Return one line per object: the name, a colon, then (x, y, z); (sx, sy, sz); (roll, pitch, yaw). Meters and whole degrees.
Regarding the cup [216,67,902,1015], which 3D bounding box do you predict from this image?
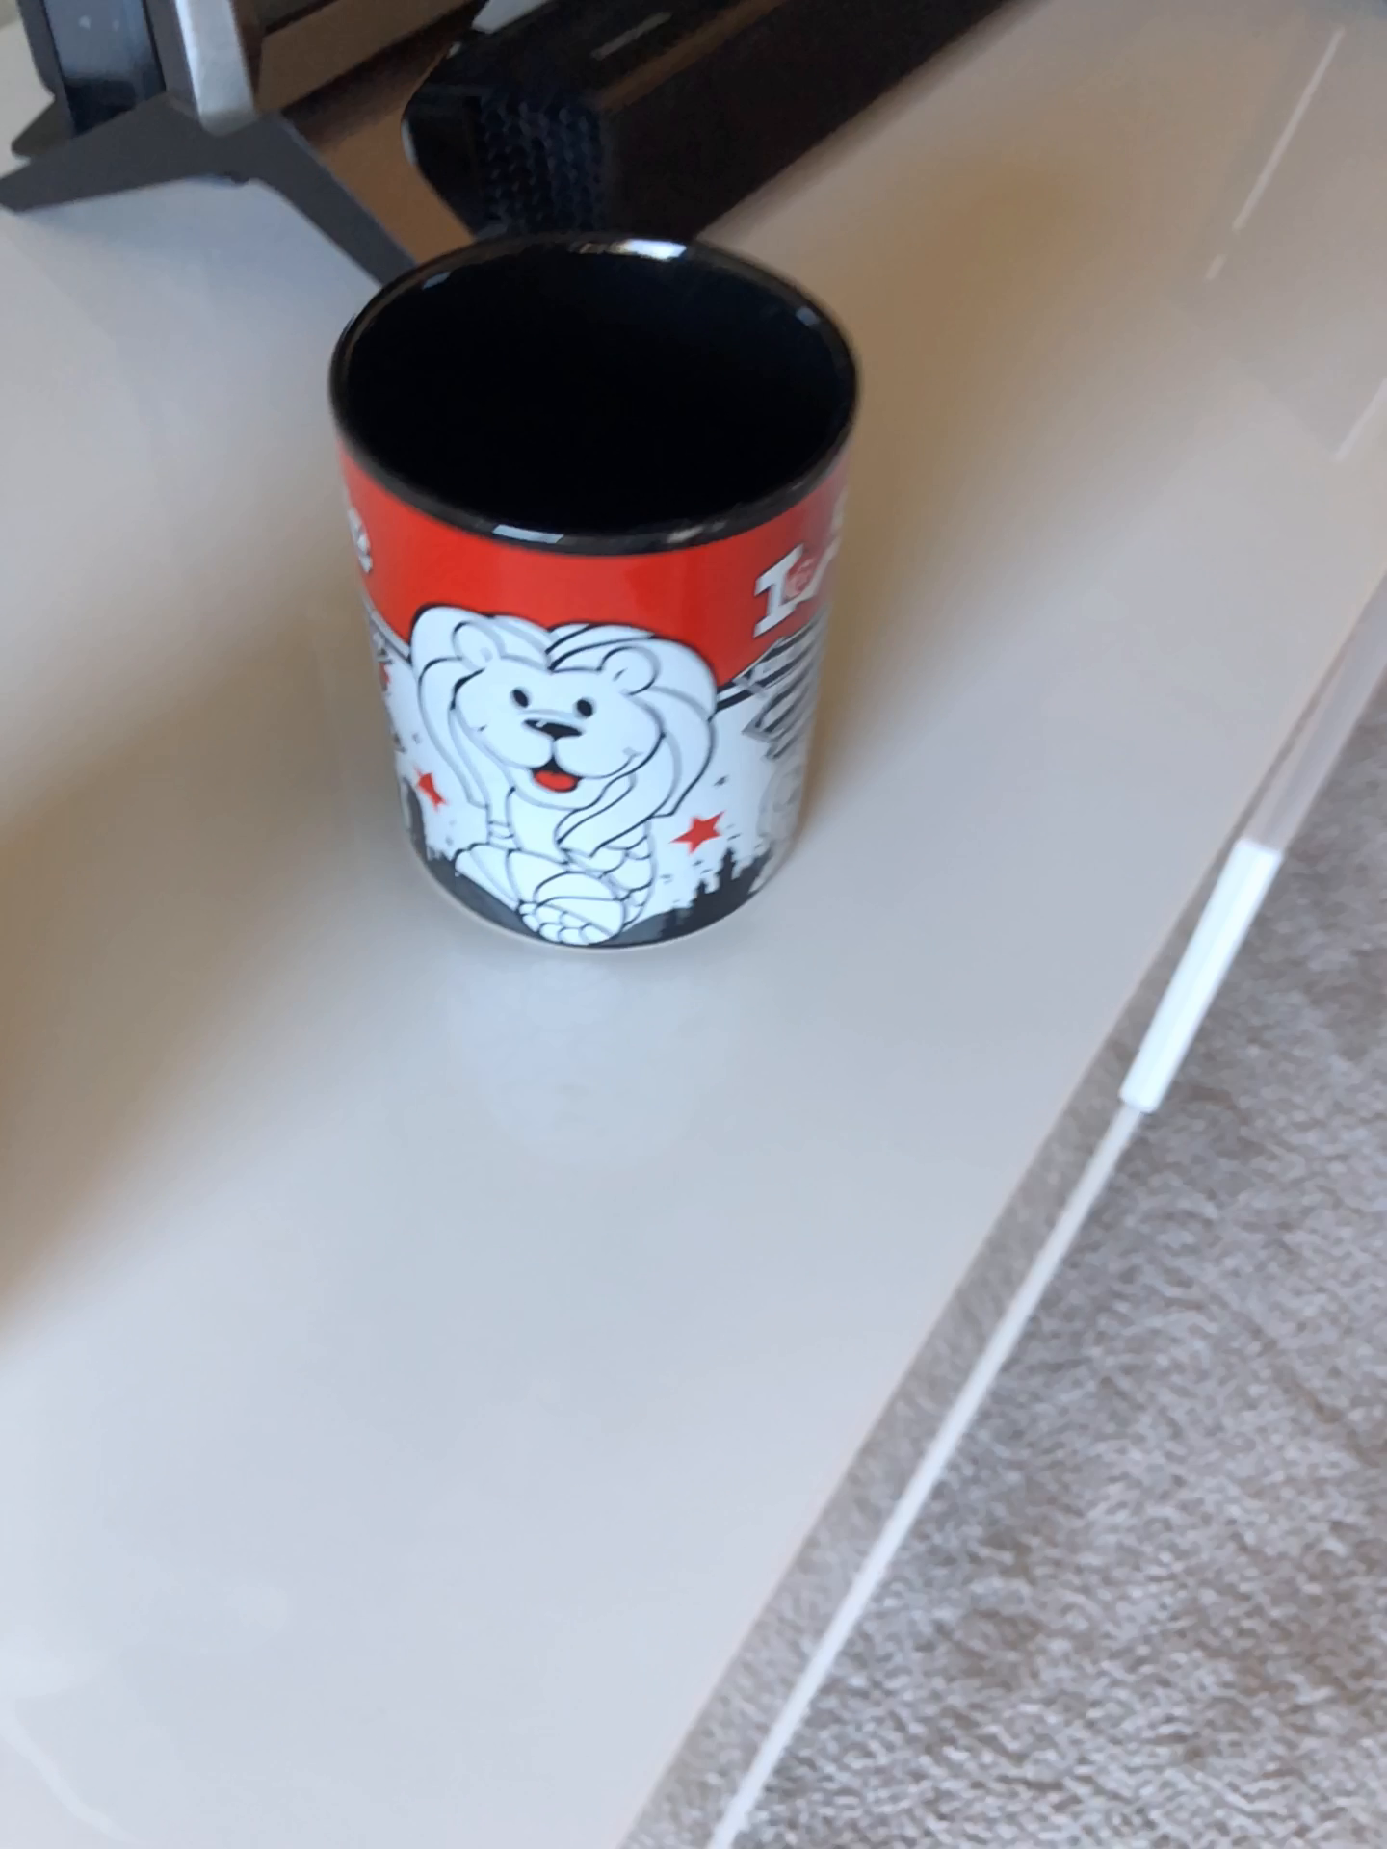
cup: (-0.015, -0.070, 0.285); (0.080, 0.110, 0.120); (10, 52, 6)
